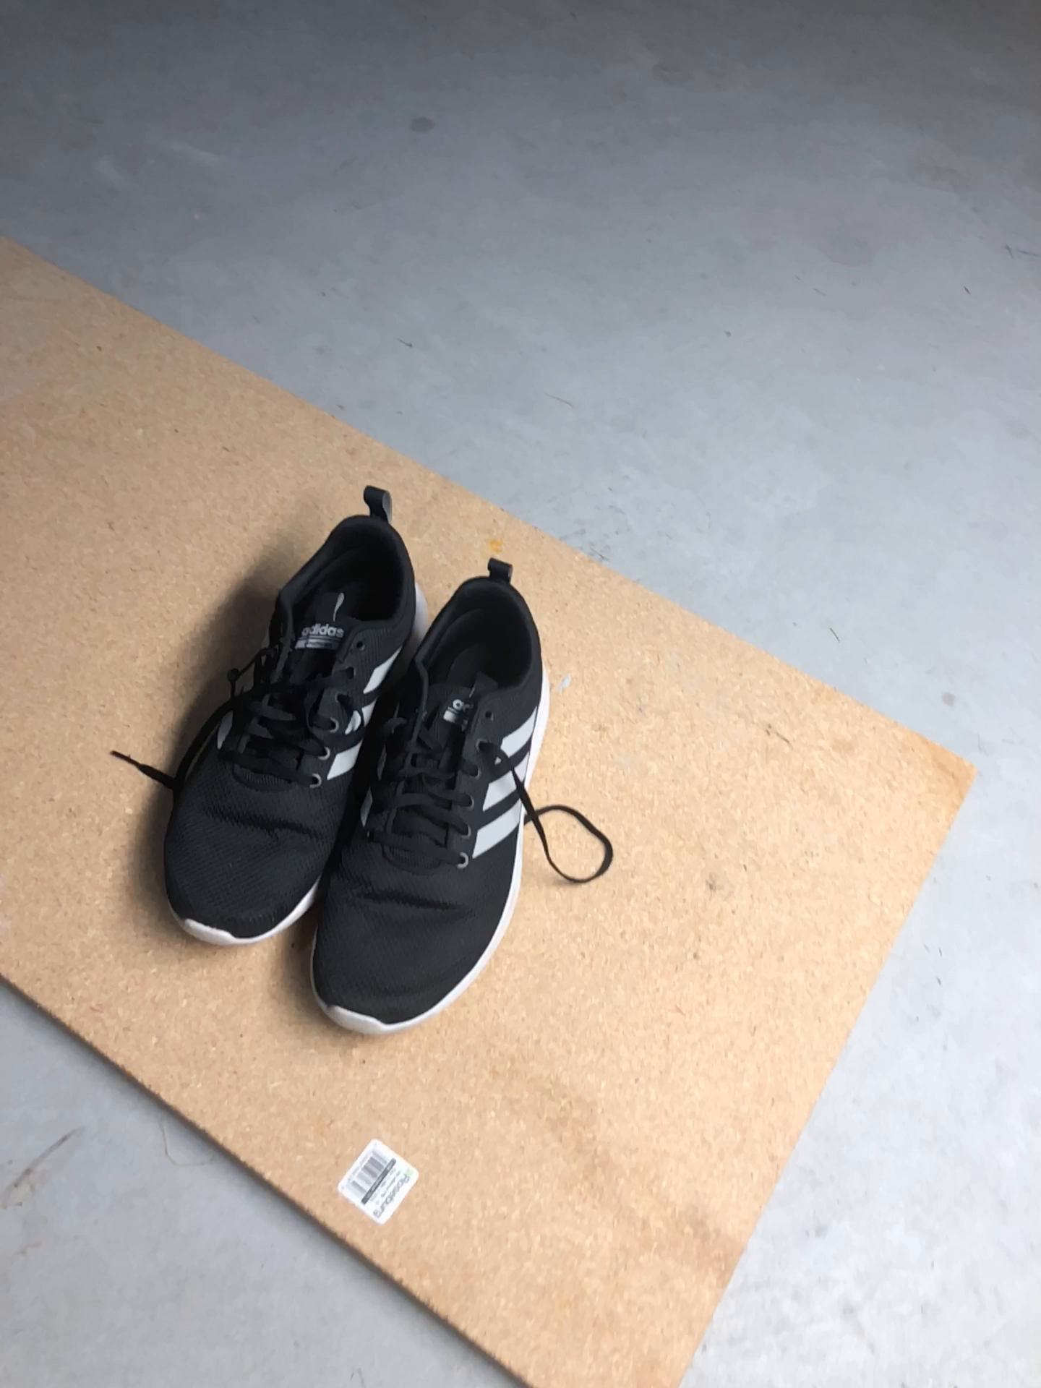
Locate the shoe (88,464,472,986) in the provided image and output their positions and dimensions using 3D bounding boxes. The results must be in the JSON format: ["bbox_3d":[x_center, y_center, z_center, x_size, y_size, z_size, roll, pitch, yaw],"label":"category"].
[{"bbox_3d":[-0.135,0.008,0.703,0.110,0.090,0.301,20,55,-1],"label":"shoe"}]

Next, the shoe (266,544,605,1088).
[{"bbox_3d":[-0.044,0.062,0.692,0.110,0.090,0.301,19,55,-2],"label":"shoe"}]
